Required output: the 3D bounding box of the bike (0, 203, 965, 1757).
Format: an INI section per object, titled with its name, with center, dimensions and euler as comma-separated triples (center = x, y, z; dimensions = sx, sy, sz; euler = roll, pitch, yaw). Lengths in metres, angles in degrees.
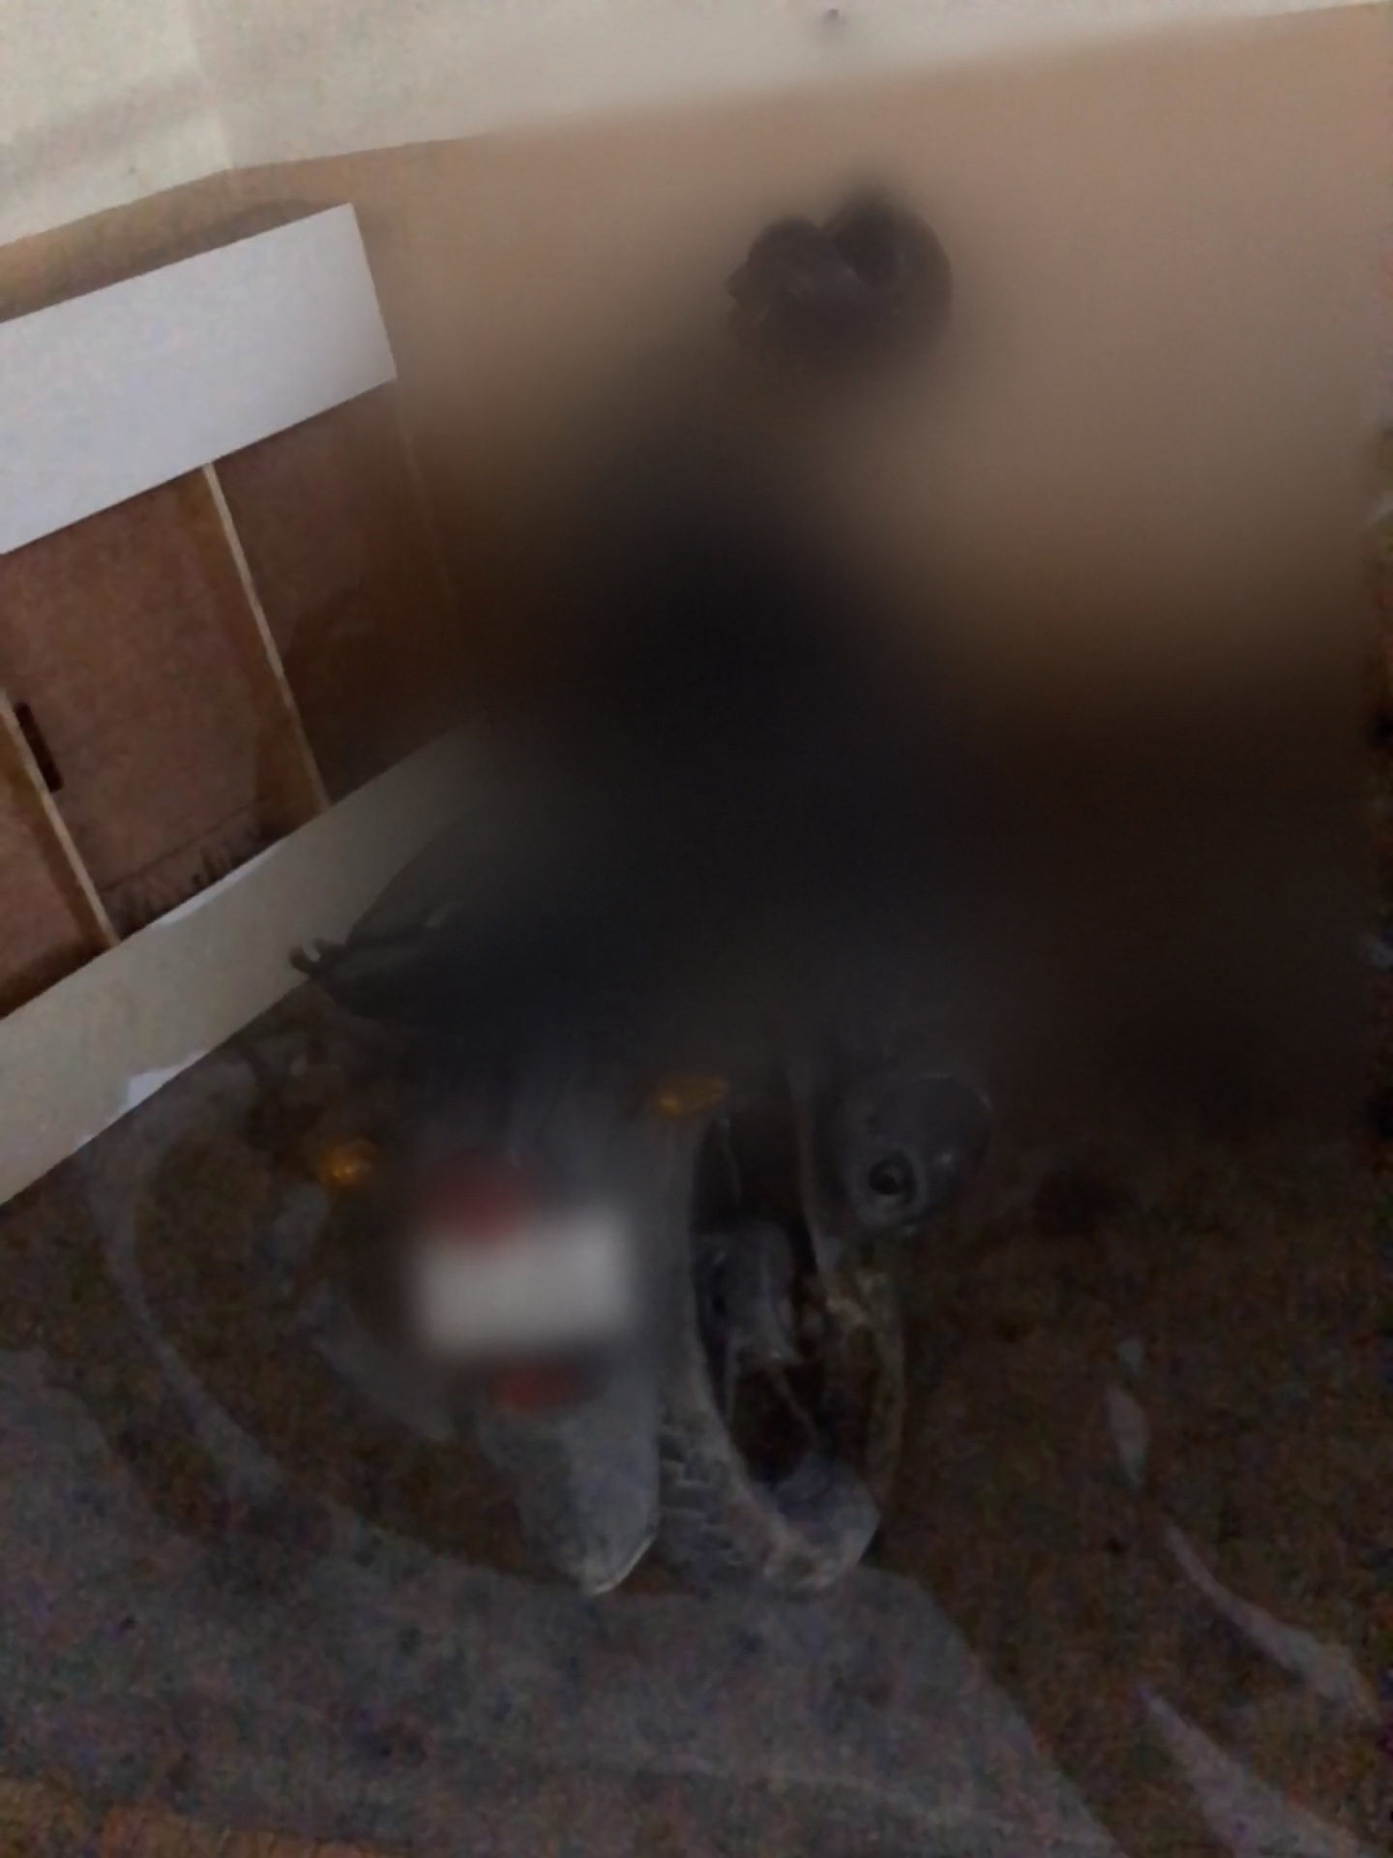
[bike]
center = -0.085, -0.117, 1.982
dimensions = 0.717, 1.179, 1.711
euler = -2, 34, 14
